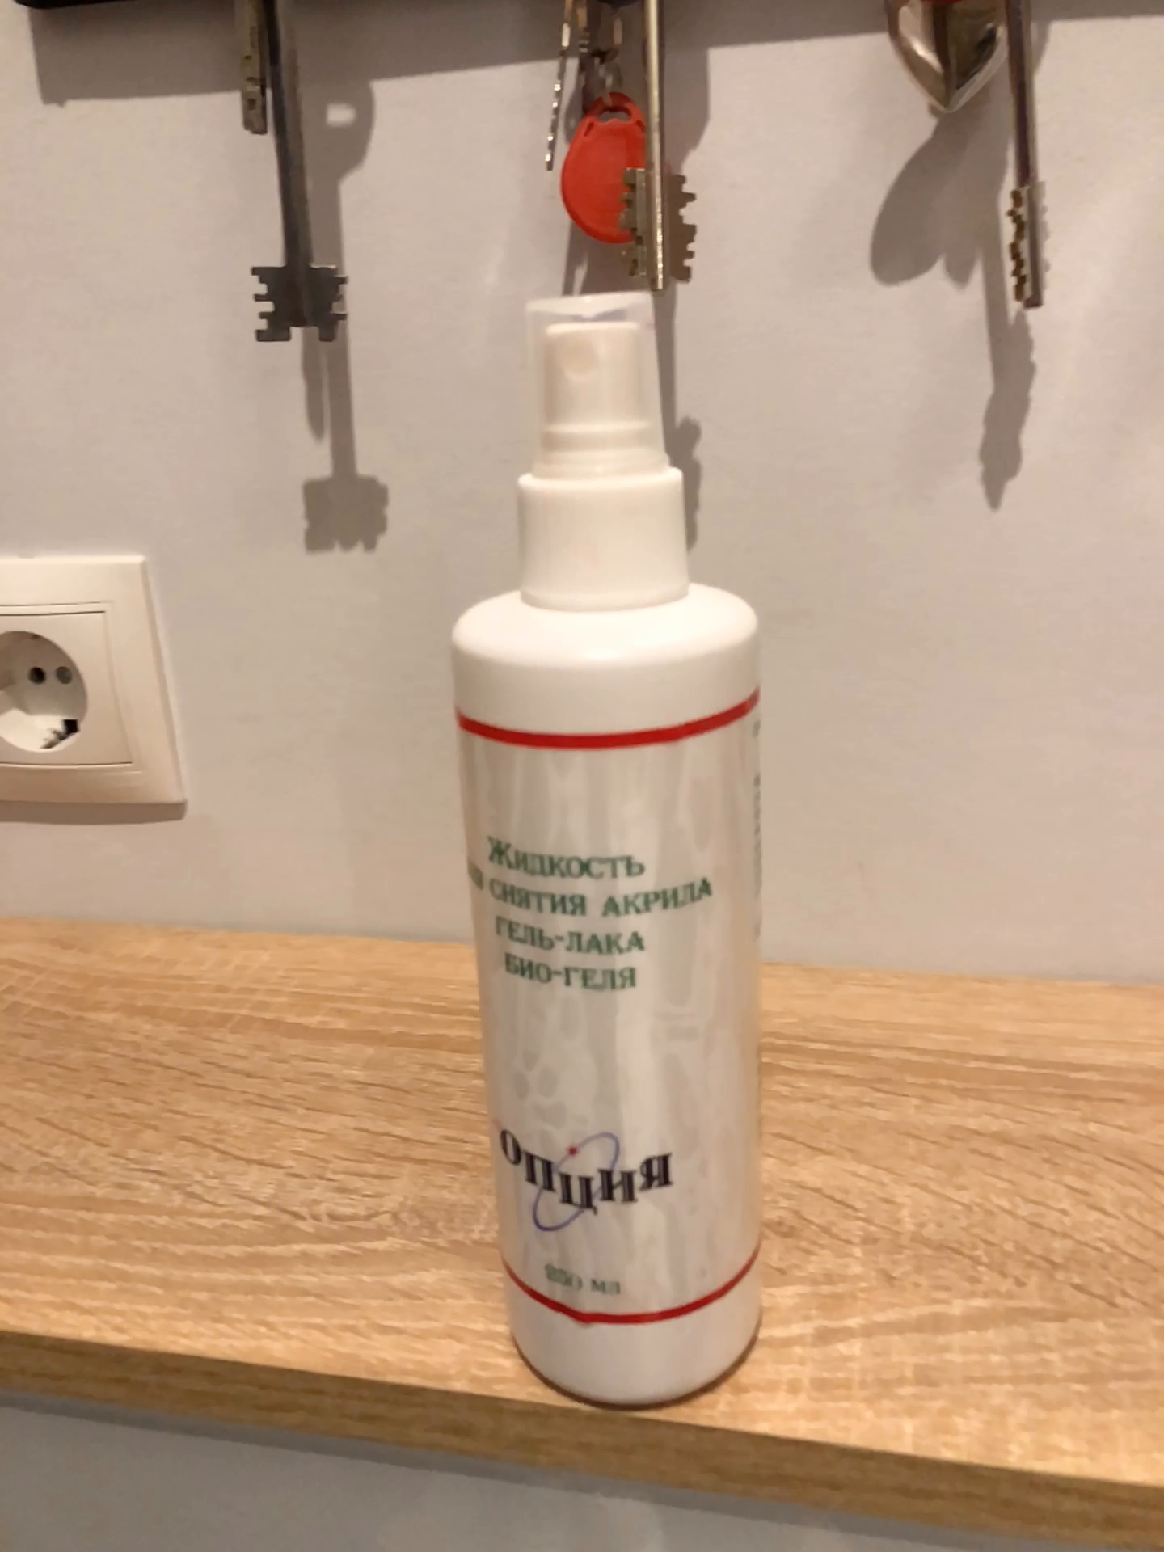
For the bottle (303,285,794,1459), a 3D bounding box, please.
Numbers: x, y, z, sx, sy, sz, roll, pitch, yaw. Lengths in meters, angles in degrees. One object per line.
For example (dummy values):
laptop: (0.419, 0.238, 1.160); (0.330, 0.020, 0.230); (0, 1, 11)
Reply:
bottle: (0.003, 0.016, 0.219); (0.056, 0.183, 0.060); (-3, 19, 1)
